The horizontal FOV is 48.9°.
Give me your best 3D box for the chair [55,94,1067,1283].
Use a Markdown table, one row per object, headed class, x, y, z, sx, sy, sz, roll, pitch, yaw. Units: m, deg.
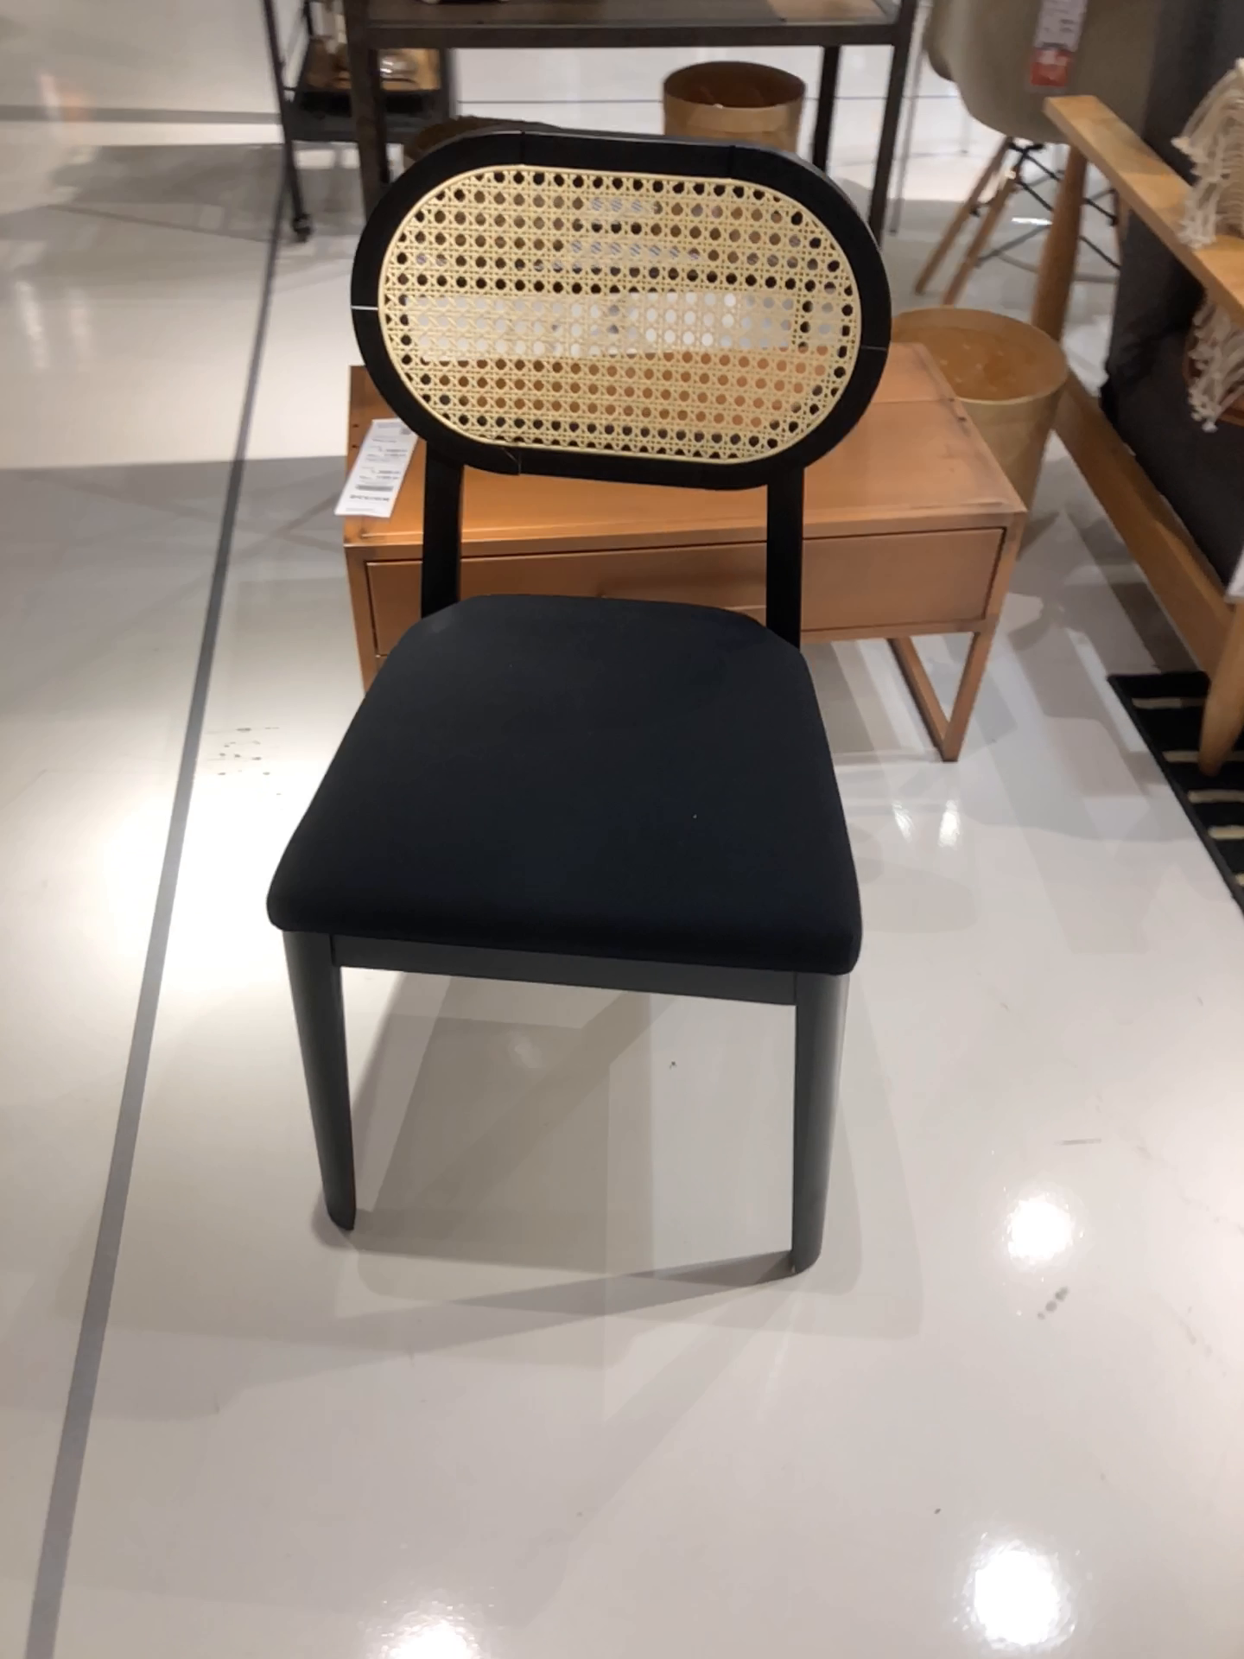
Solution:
| class | x | y | z | sx | sy | sz | roll | pitch | yaw |
| --- | --- | --- | --- | --- | --- | --- | --- | --- | --- |
| chair | -0.029 | -0.085 | 1.148 | 0.500 | 0.804 | 0.544 | 3 | 44 | 1 |
